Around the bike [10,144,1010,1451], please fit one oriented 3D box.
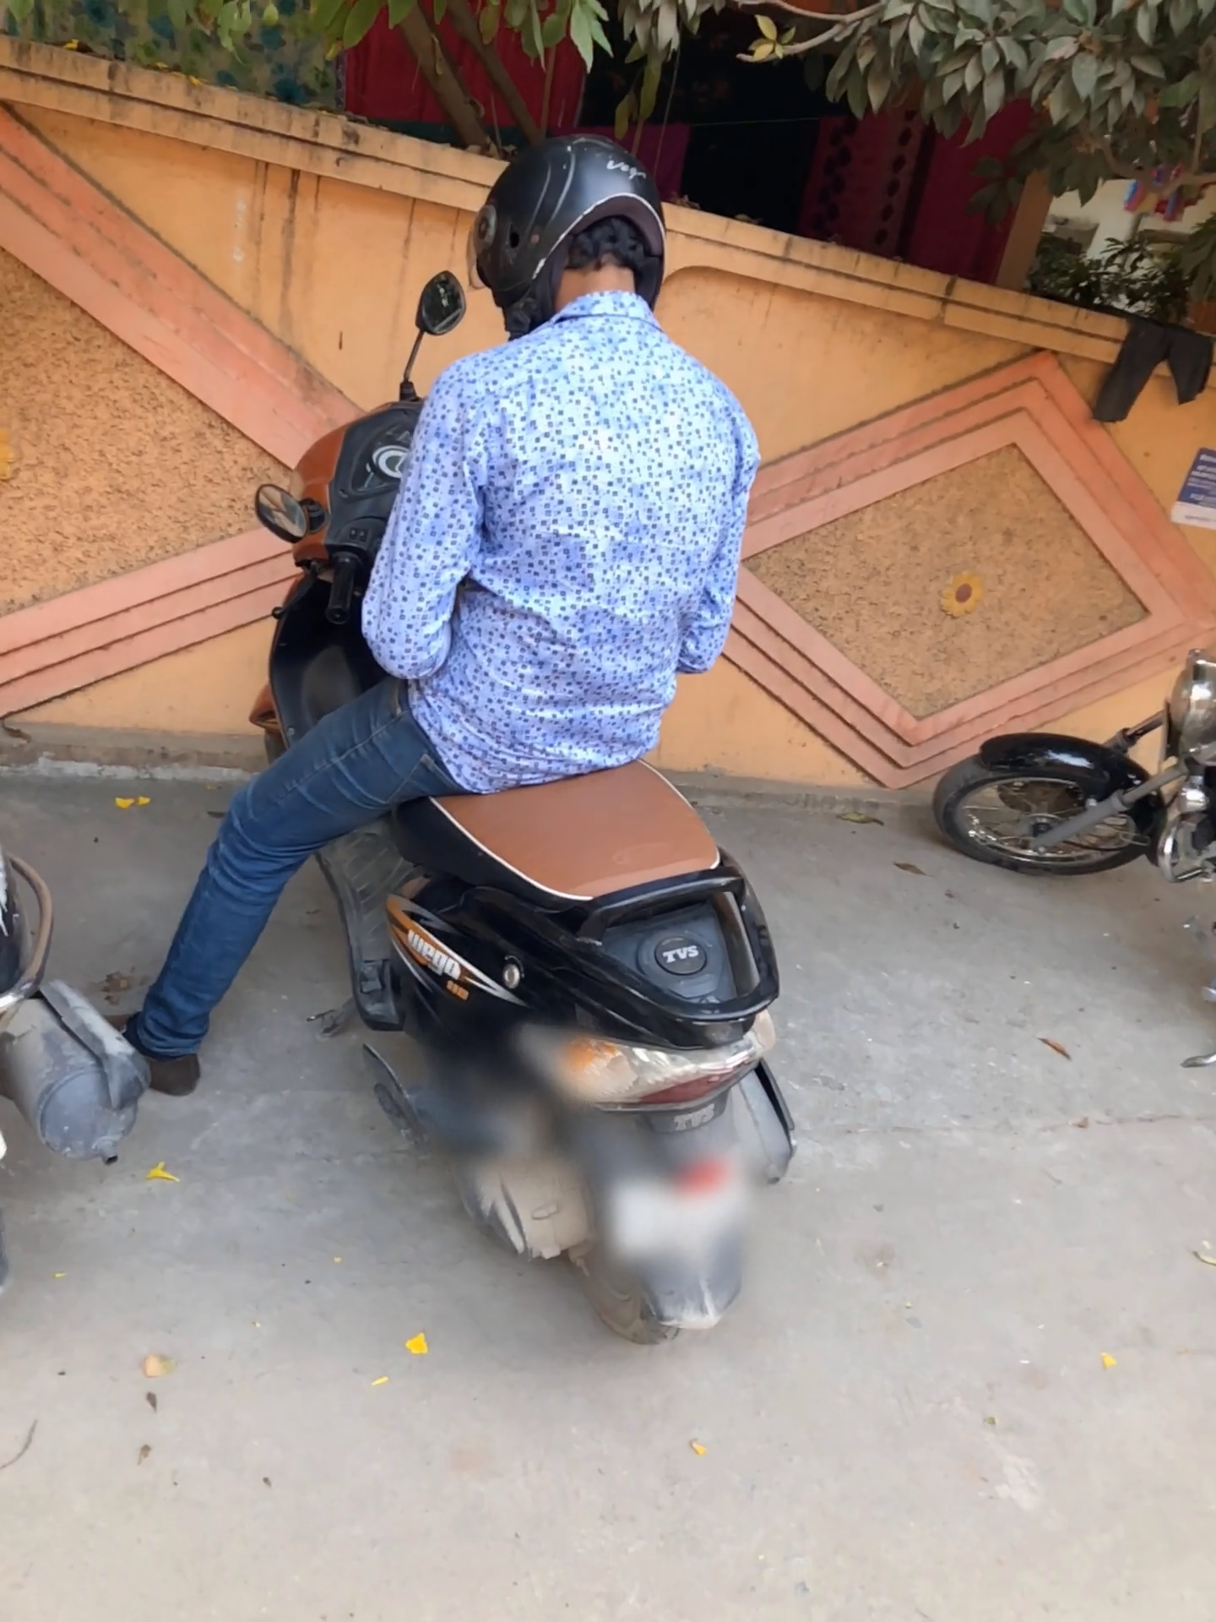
[{"bbox_3d":[-0.302,-0.116,1.910,0.630,1.038,1.323,-6,37,-38],"label":"bike"}]
